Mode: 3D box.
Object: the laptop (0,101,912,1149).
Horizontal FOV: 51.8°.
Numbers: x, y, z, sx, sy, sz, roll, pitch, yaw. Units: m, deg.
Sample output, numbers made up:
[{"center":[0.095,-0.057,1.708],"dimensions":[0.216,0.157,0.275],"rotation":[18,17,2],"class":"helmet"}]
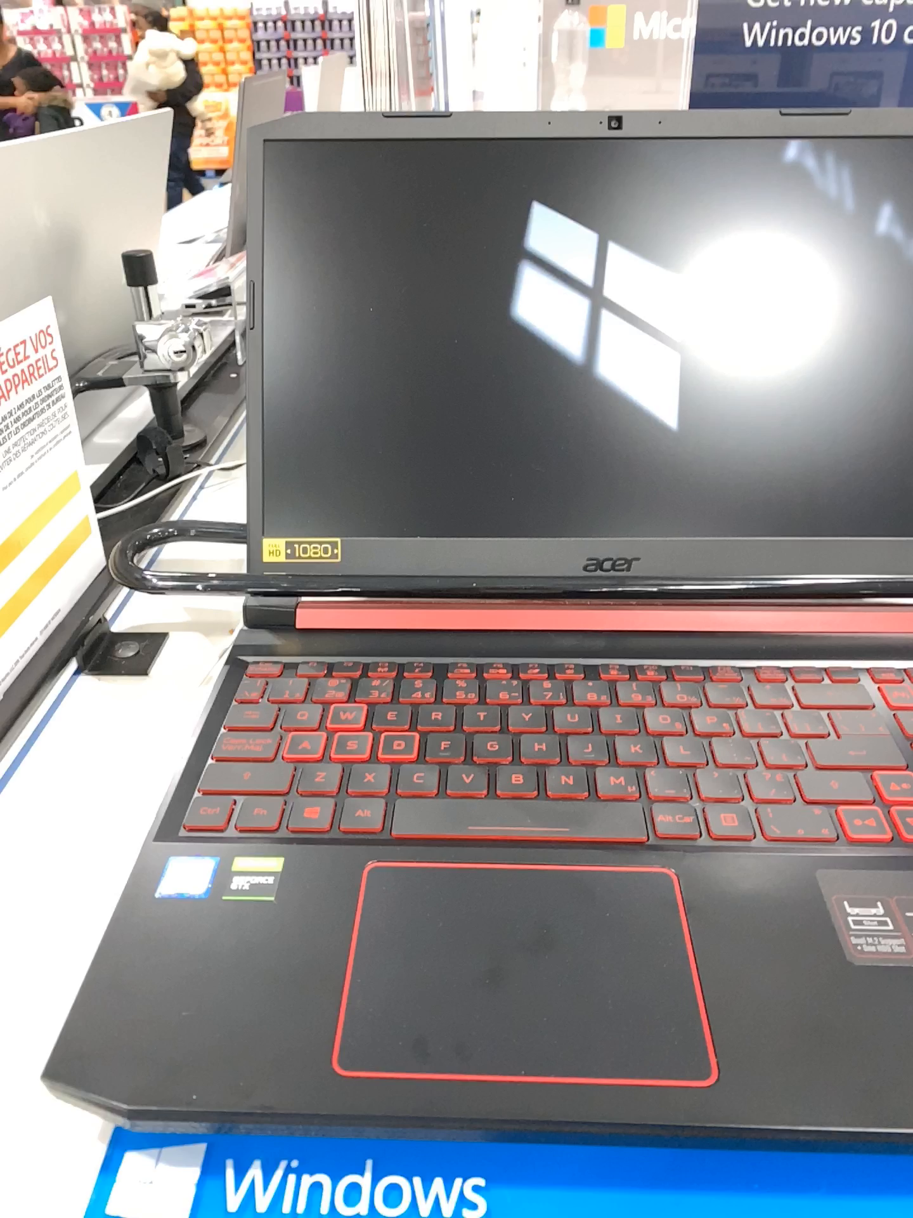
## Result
[{"center":[0.067,-0.060,0.359],"dimensions":[0.358,0.198,0.381],"rotation":[1,33,3],"class":"laptop"}]
